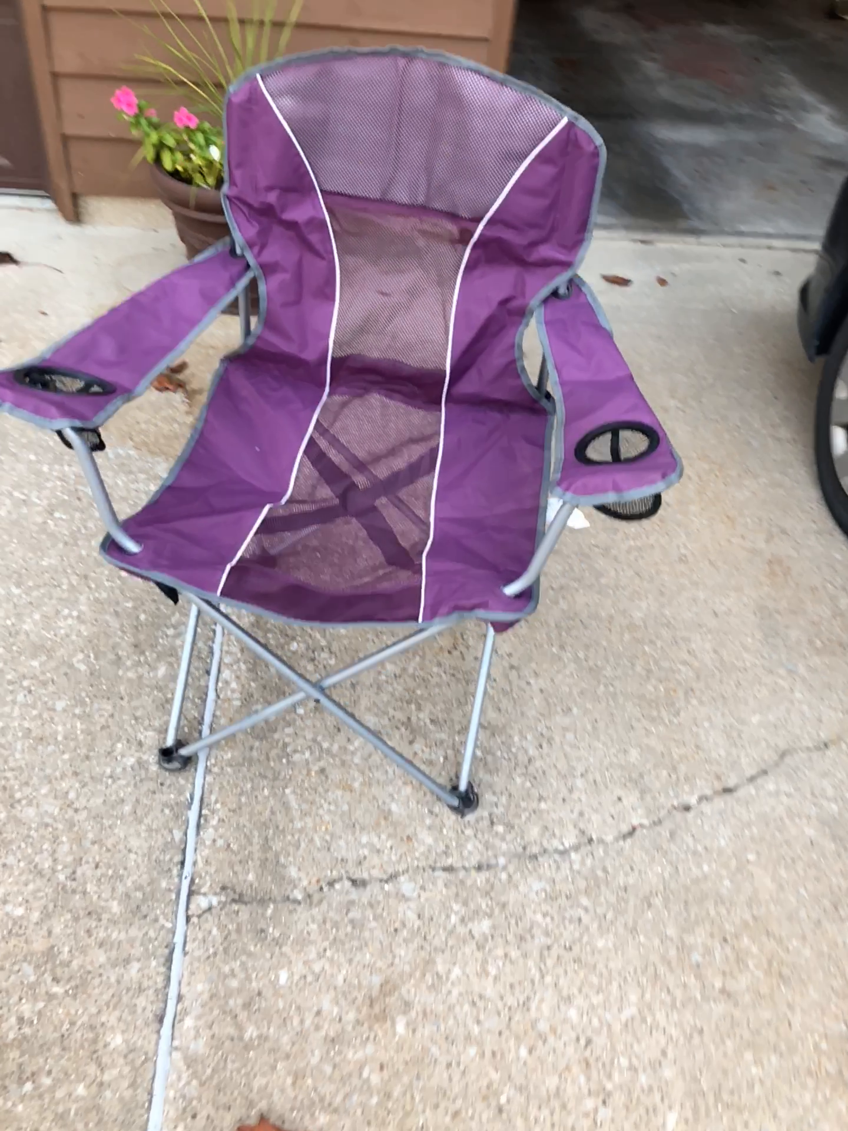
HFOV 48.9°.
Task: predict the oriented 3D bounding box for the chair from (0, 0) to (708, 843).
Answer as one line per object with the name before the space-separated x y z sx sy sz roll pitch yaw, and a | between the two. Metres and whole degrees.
chair | -0.127 -0.208 1.354 0.760 0.878 0.712 8 41 2
